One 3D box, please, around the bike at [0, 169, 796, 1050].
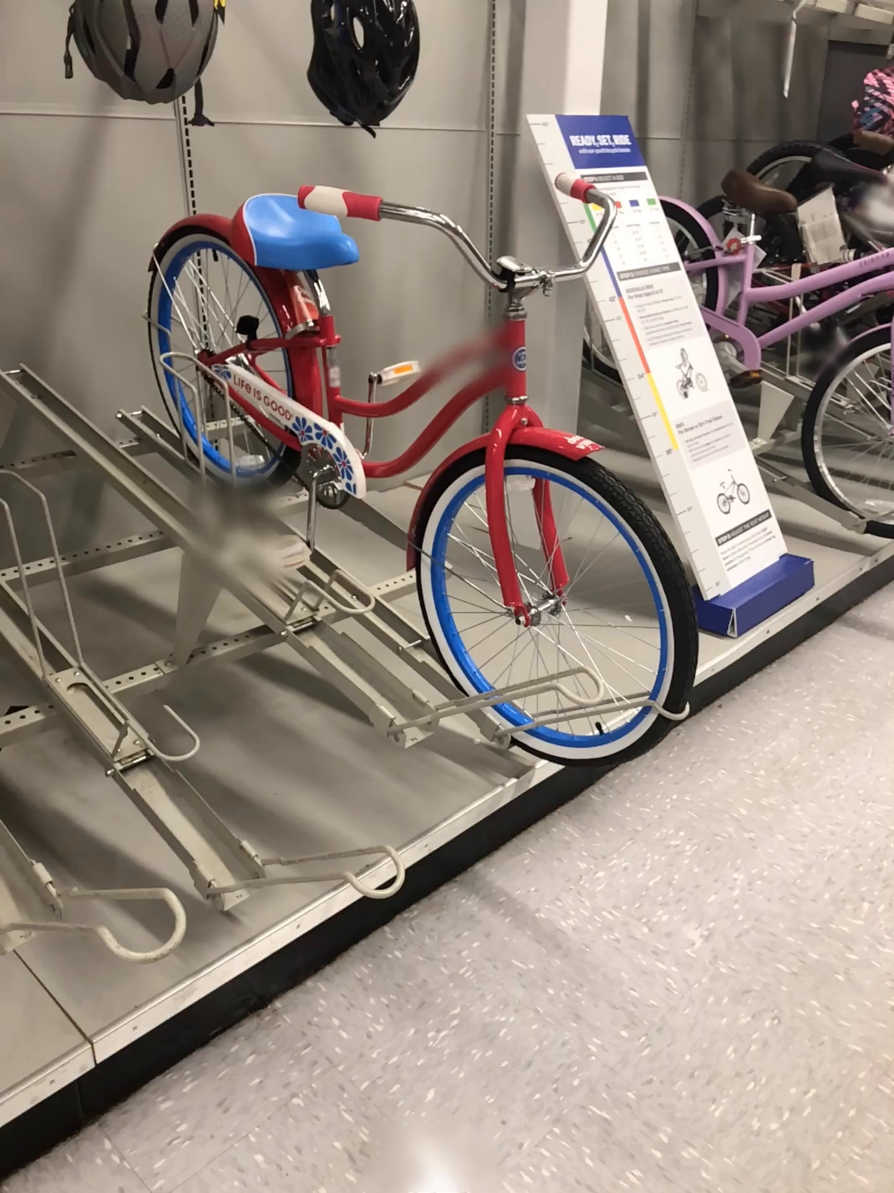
[{"bbox_3d":[-0.198,-0.206,2.003,0.812,0.676,1.609,-22,48,-42],"label":"bike"}]
